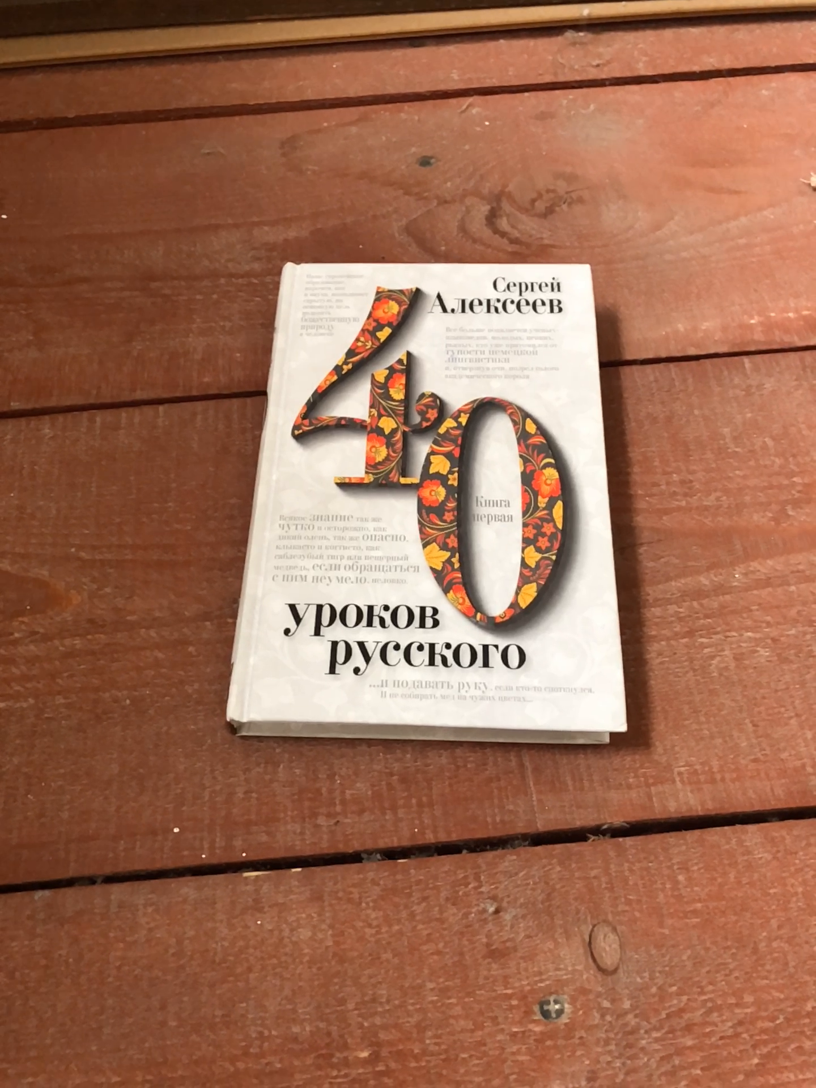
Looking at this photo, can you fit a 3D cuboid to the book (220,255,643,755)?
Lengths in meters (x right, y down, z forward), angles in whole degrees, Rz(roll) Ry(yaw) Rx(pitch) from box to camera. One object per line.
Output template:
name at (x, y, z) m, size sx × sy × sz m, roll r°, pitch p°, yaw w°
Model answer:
book at (0.010, -0.024, 0.348) m, size 0.135 × 0.030 × 0.200 m, roll 1°, pitch 63°, yaw 2°
